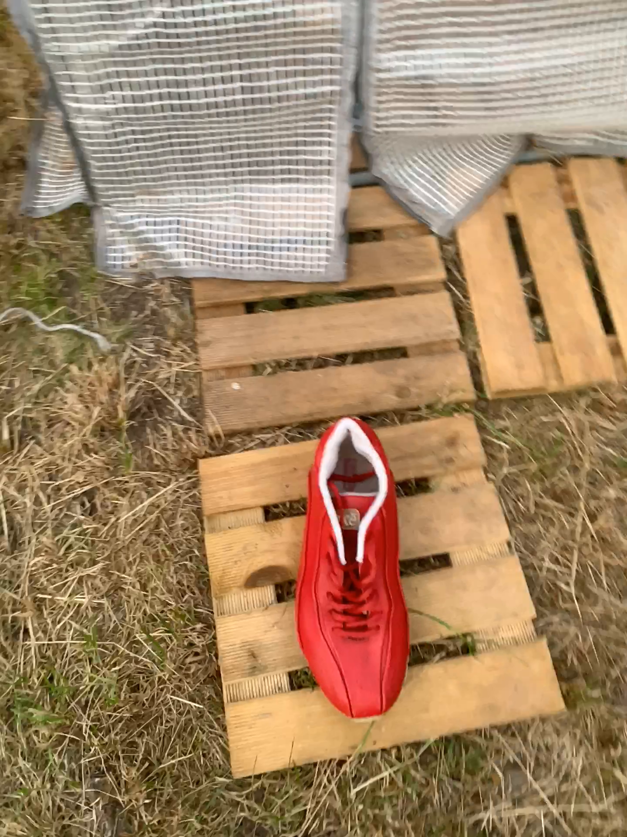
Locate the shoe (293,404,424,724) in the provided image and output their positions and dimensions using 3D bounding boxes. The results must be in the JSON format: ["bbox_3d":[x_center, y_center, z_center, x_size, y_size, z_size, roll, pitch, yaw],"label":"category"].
[{"bbox_3d":[0.037,0.126,0.582,0.100,0.100,0.261,0,70,1],"label":"shoe"}]
